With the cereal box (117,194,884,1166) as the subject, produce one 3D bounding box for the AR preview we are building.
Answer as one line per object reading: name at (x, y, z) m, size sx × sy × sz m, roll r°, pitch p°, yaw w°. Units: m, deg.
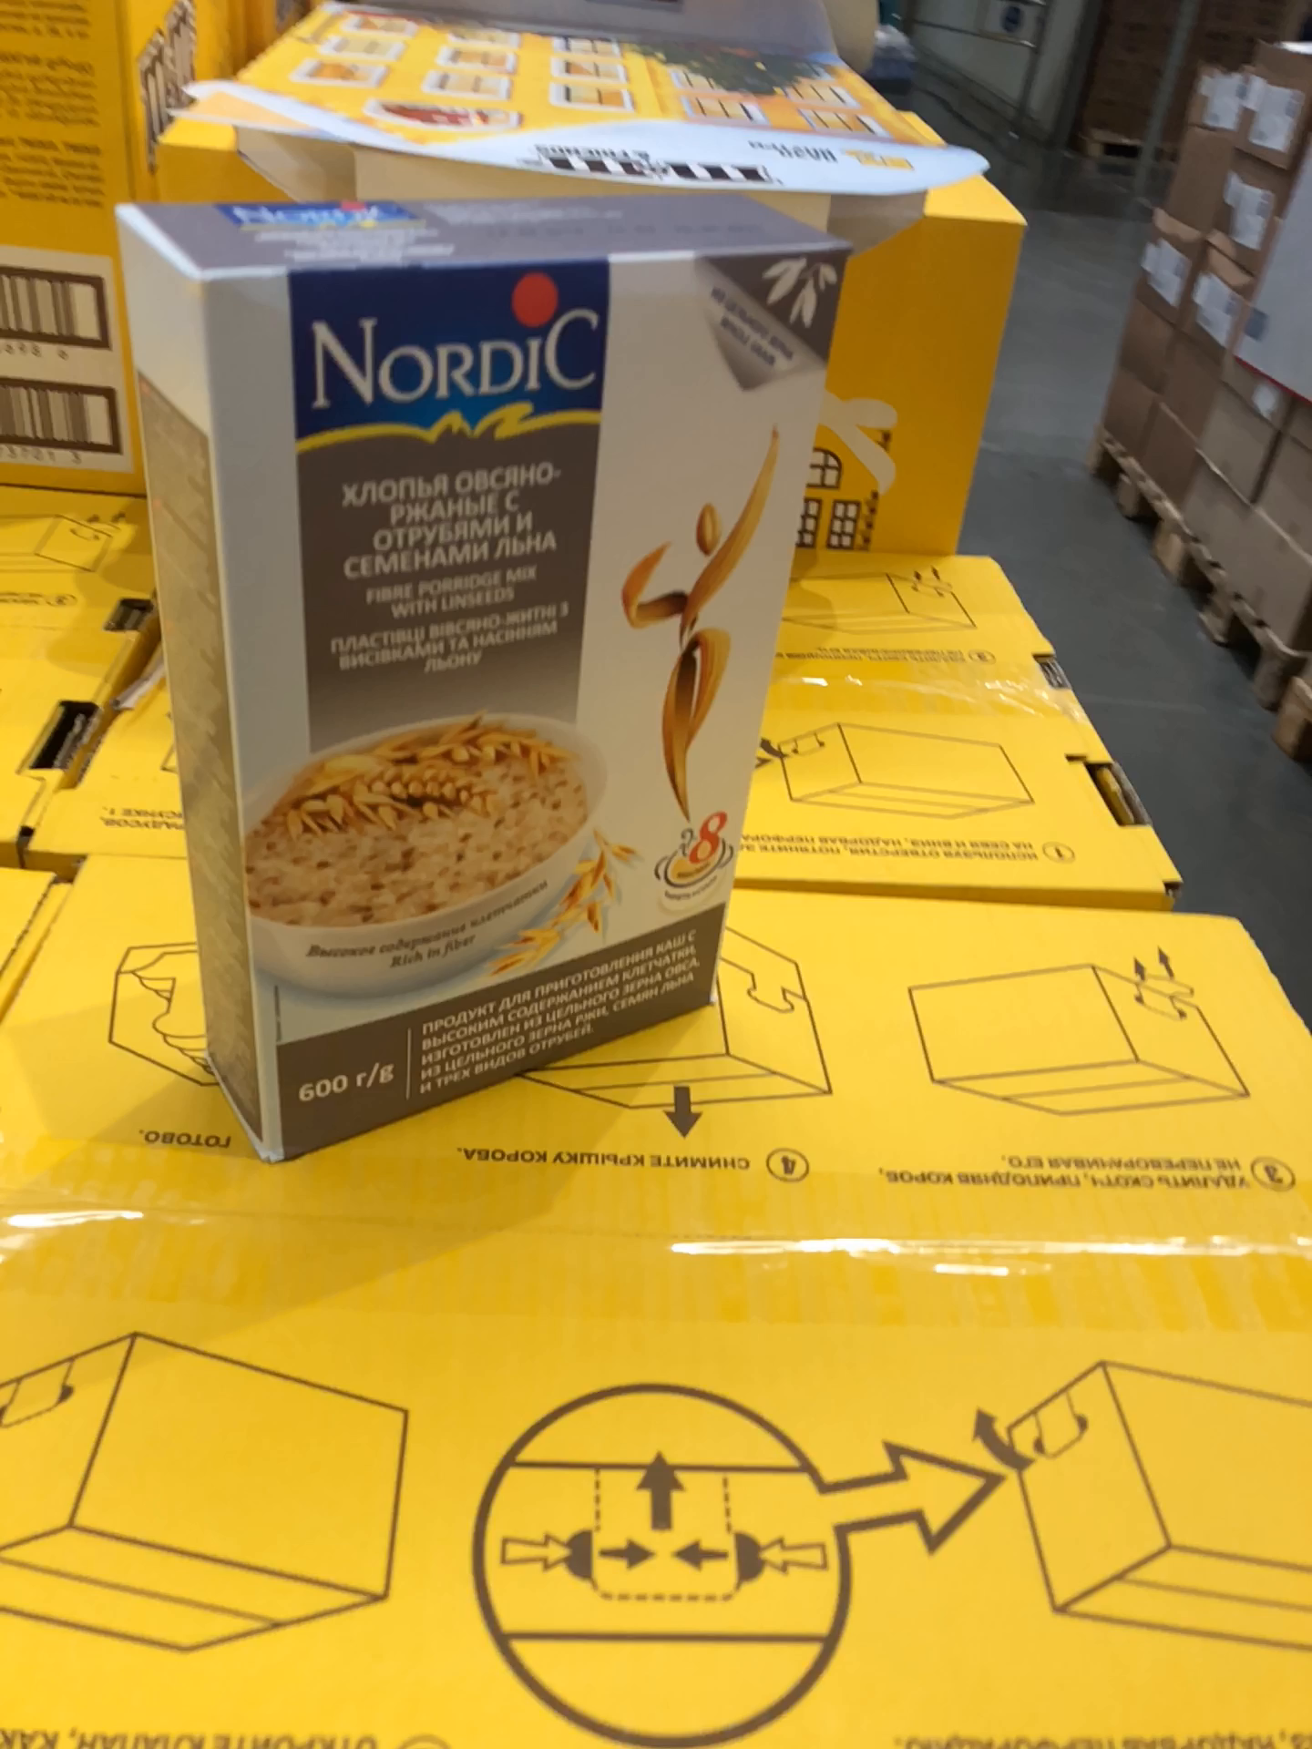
cereal box at (-0.039, -0.045, 0.357) m, size 0.150 × 0.218 × 0.050 m, roll -15°, pitch 42°, yaw -30°
